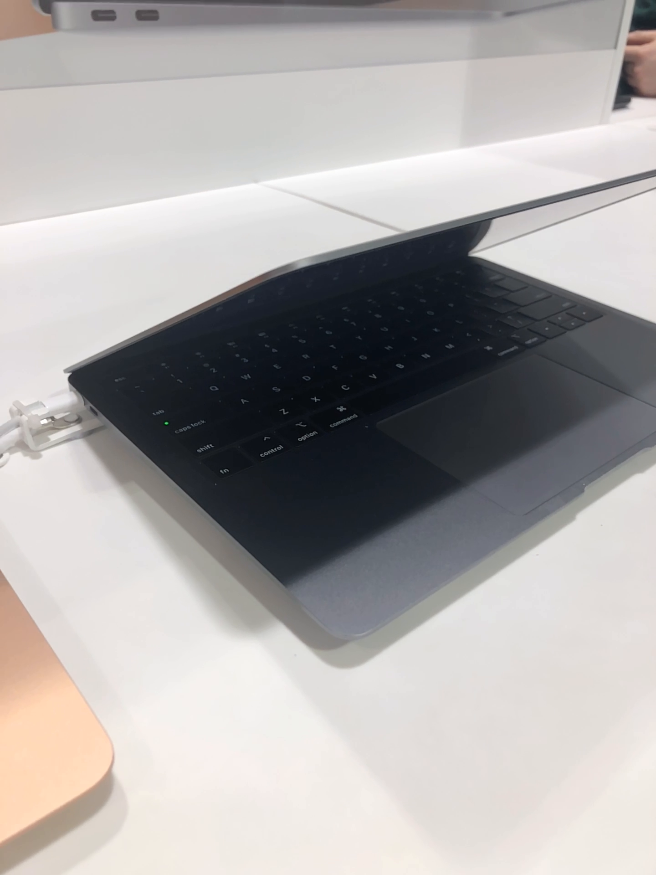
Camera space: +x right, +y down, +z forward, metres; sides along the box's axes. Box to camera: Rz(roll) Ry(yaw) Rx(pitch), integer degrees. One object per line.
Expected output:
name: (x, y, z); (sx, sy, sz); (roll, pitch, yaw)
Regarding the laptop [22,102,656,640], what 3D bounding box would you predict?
laptop: (0.051, -0.074, 0.335); (0.289, 0.102, 0.199); (-23, 41, -34)
